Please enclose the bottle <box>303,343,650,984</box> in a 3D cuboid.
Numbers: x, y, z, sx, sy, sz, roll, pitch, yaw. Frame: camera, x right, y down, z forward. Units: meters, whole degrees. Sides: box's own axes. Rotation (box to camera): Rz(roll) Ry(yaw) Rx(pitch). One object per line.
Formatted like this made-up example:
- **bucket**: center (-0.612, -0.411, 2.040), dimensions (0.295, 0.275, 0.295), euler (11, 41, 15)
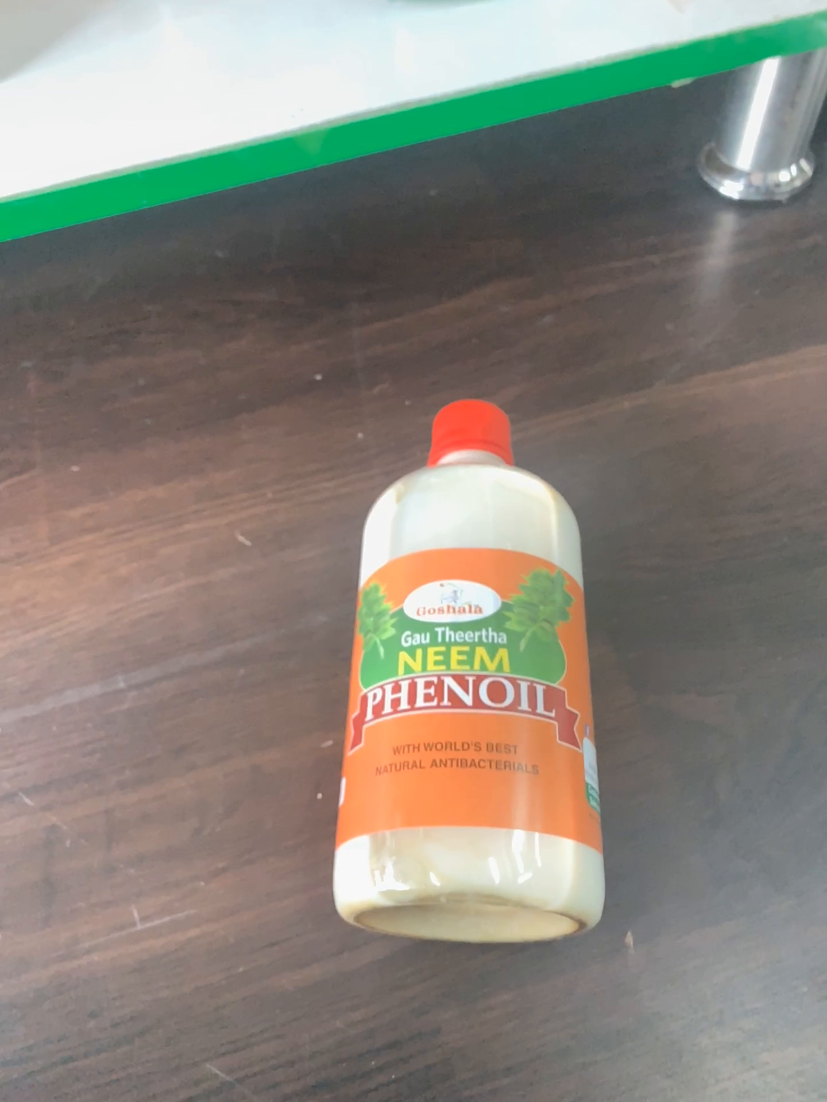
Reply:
- **bottle**: center (0.020, 0.029, 0.278), dimensions (0.080, 0.070, 0.190), euler (1, 60, 4)
